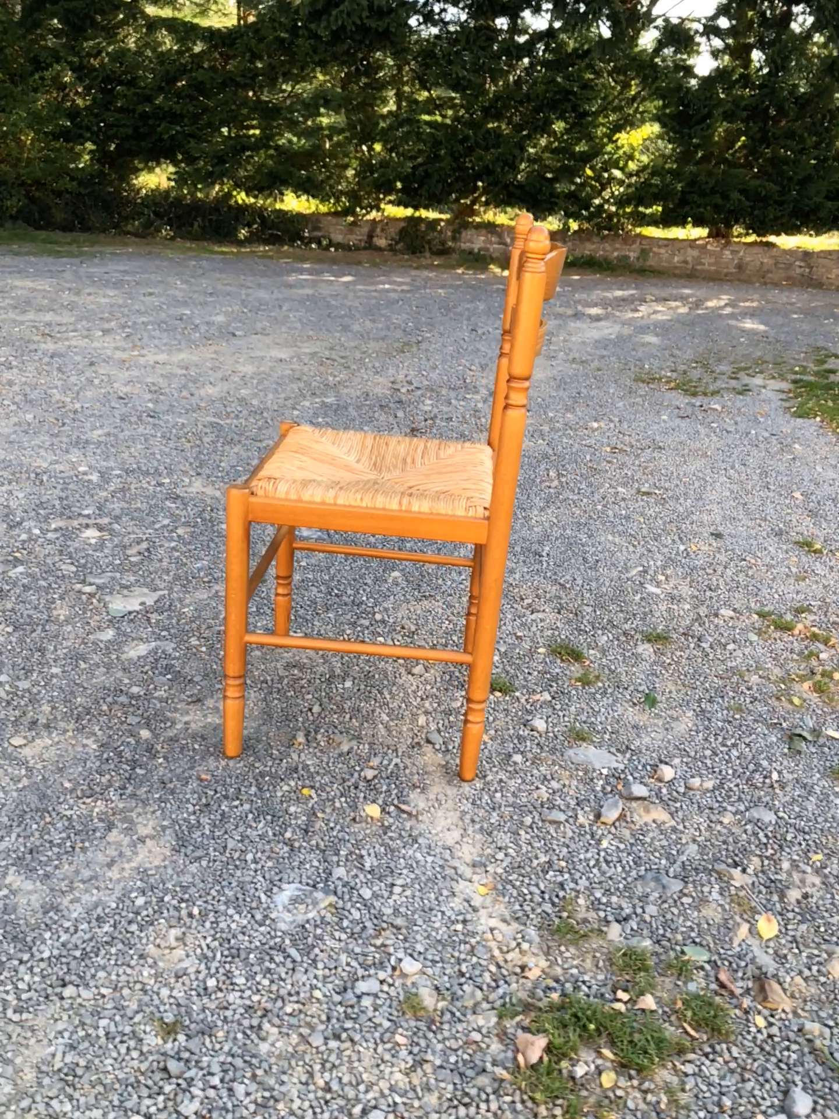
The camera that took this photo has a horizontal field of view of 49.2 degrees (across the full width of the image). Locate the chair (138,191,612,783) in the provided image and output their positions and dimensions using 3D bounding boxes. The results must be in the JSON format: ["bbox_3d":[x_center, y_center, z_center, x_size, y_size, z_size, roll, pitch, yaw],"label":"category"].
[{"bbox_3d":[-0.050,-0.139,1.384,0.520,0.736,0.513,3,24,2],"label":"chair"}]
